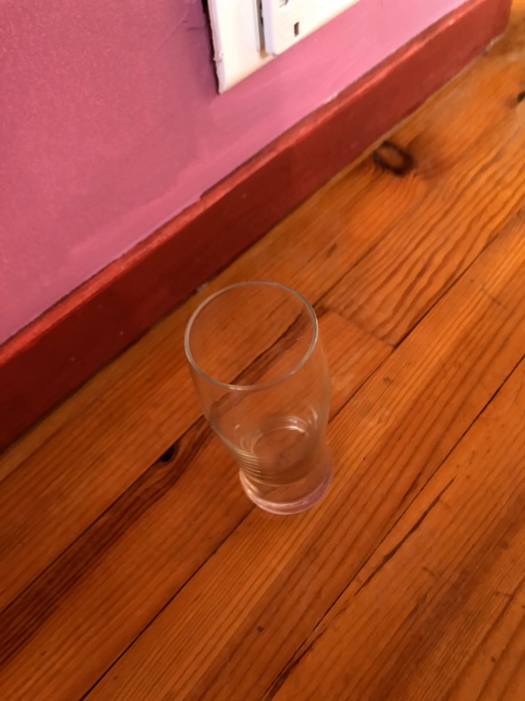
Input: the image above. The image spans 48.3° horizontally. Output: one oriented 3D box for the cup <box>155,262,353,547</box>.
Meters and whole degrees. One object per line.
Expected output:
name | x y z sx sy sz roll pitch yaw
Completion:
cup | 0.006 0.035 0.303 0.060 0.143 0.064 -4 52 6
